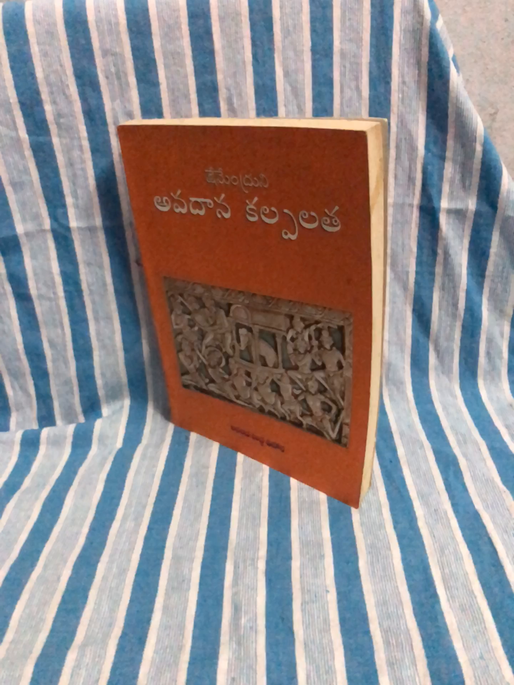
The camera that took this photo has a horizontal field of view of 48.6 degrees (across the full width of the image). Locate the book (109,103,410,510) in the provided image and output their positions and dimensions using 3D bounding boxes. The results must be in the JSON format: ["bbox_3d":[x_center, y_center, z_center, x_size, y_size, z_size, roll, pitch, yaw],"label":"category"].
[{"bbox_3d":[-0.002,-0.025,0.359,0.180,0.229,0.030,16,34,34],"label":"book"}]
